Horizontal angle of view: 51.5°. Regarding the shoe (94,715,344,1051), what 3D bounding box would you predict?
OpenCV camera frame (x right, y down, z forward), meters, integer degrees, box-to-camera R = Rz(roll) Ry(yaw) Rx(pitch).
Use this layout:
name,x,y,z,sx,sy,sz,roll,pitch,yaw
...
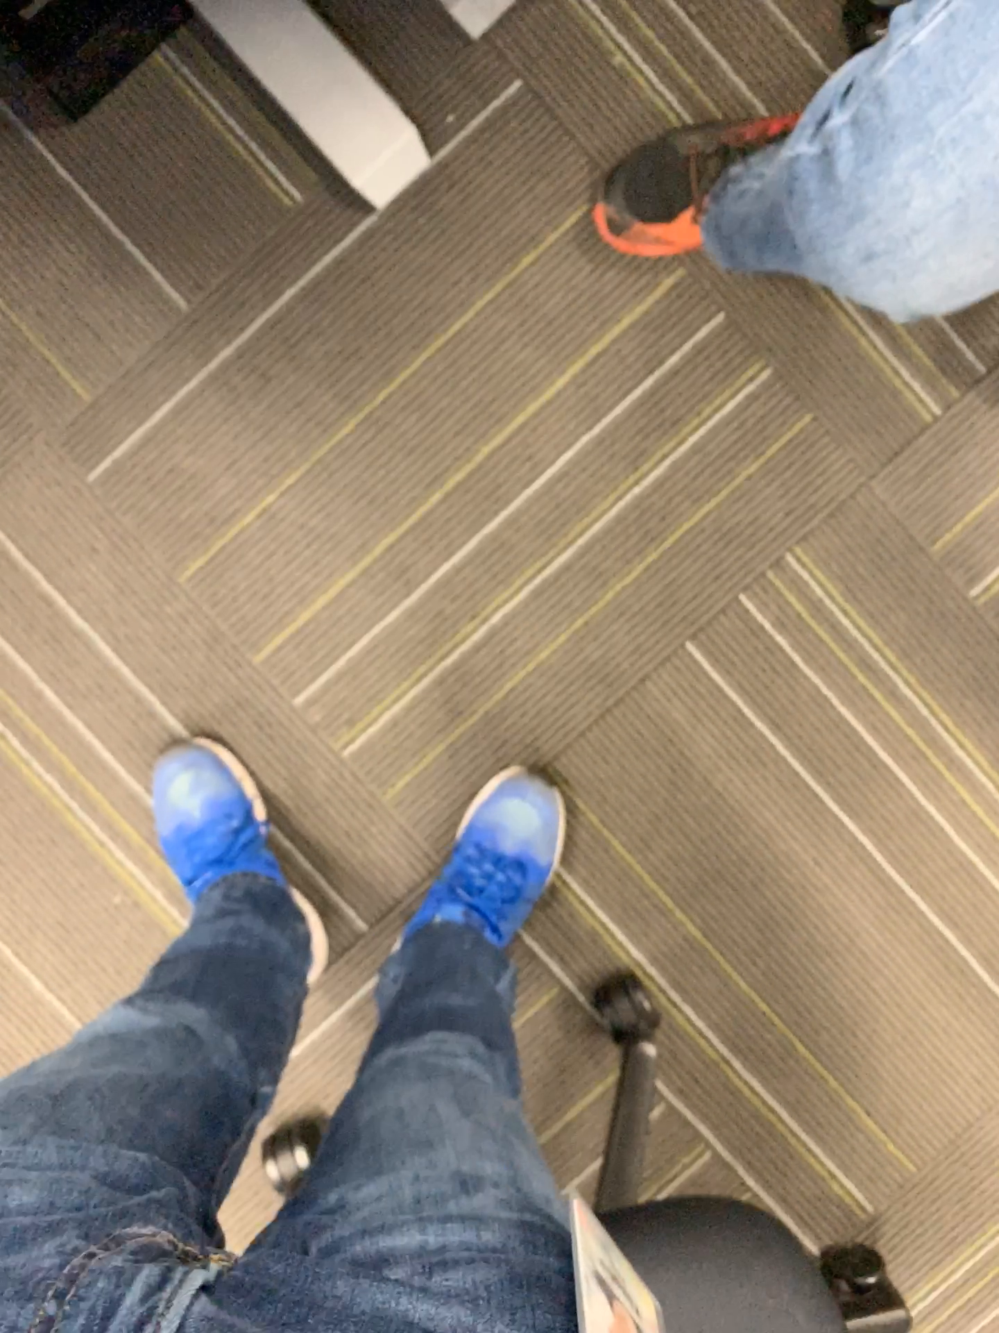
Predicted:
name,x,y,z,sx,sy,sz,roll,pitch,yaw
shoe,-0.286,0.226,1.088,0.141,0.088,0.311,-18,102,0

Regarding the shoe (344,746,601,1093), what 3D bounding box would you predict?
name,x,y,z,sx,sy,sz,roll,pitch,yaw
shoe,-0.029,0.267,1.100,0.119,0.088,0.339,28,101,-2

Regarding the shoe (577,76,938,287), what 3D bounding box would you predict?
name,x,y,z,sx,sy,sz,roll,pitch,yaw
shoe,0.235,-0.446,0.959,0.304,0.088,0.117,-10,115,4
